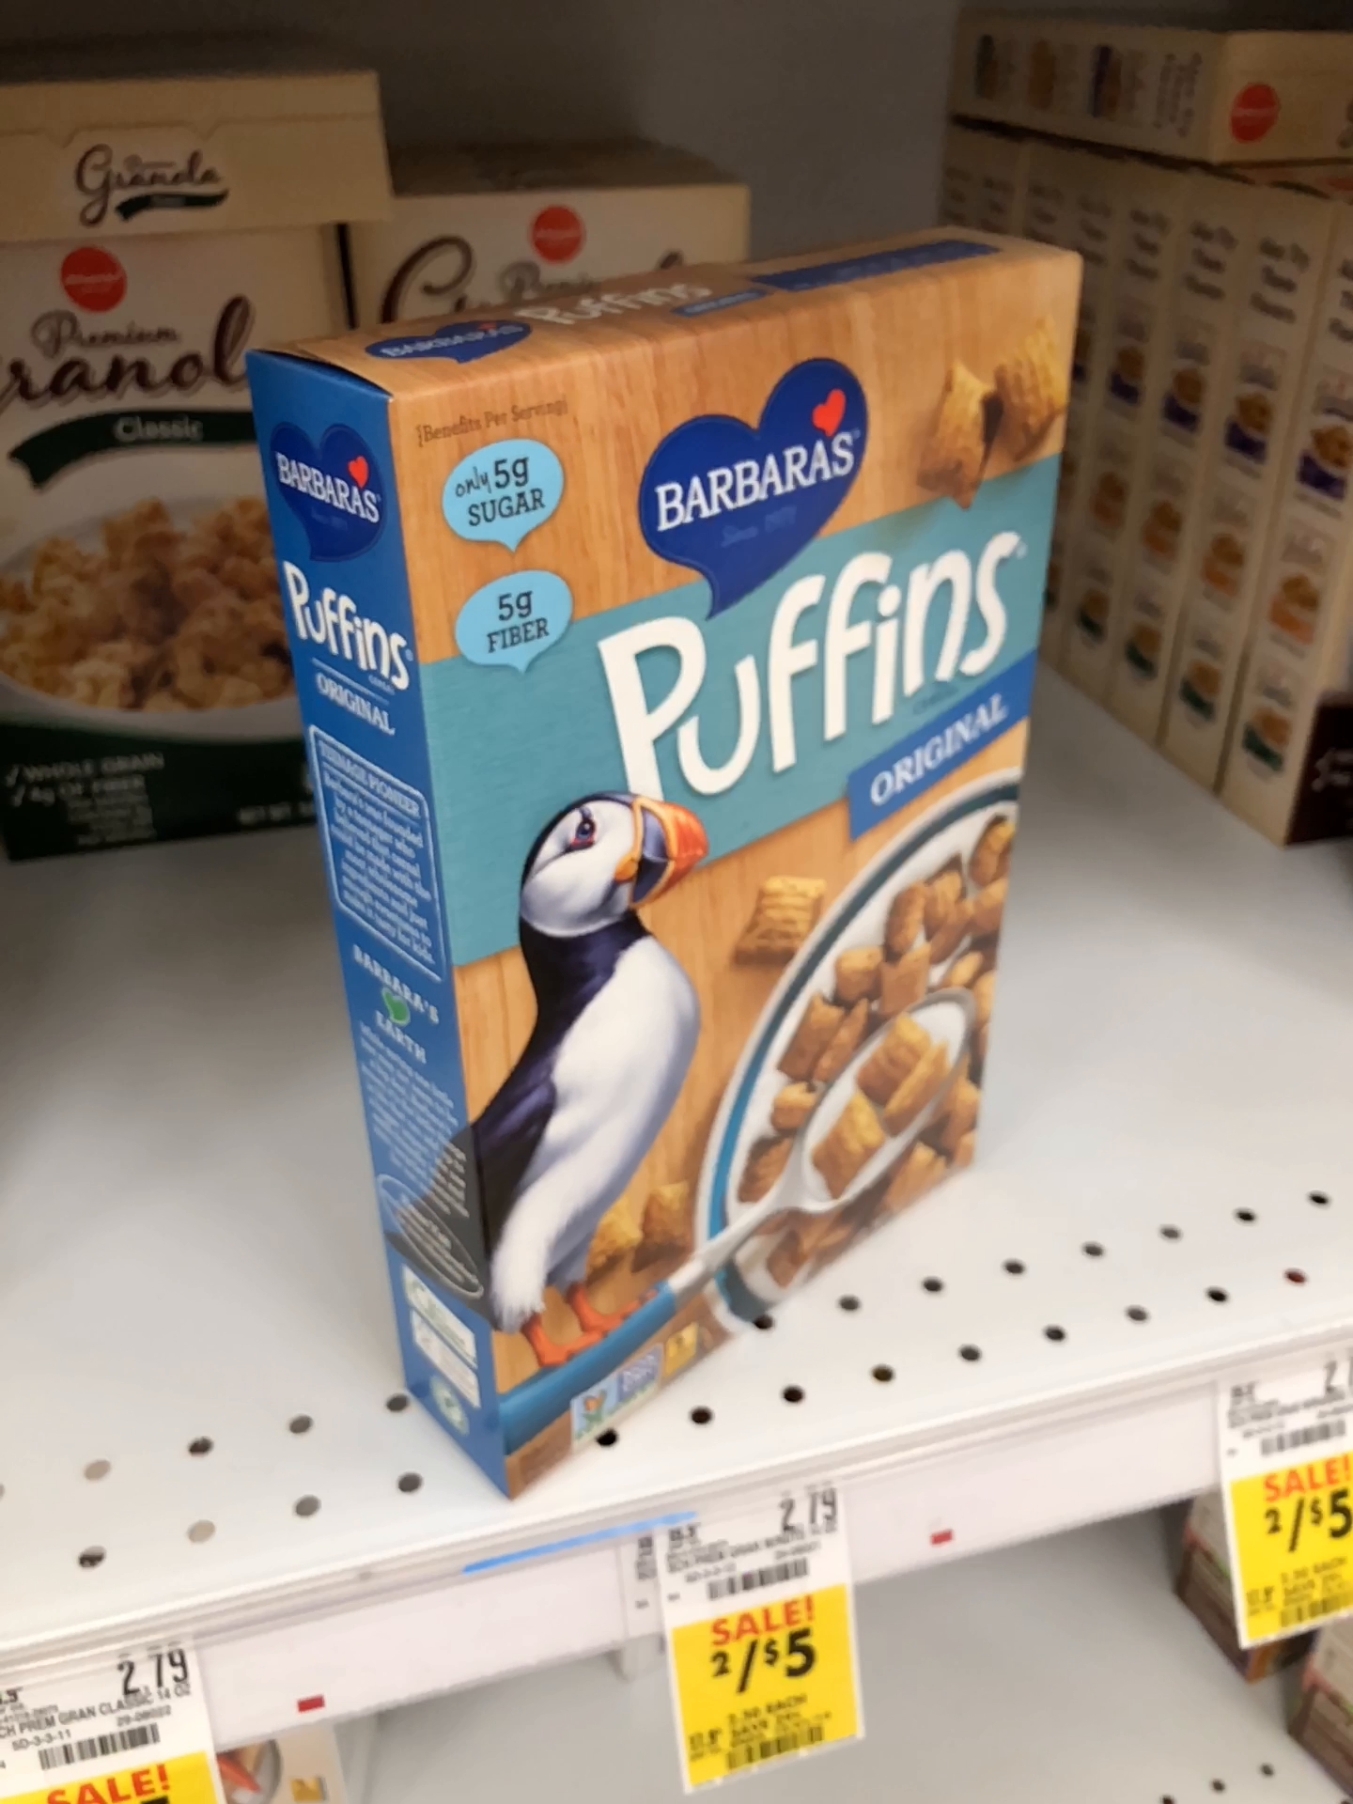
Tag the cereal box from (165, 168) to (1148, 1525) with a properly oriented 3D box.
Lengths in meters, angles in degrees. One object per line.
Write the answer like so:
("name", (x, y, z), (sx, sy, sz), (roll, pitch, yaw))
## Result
("cereal box", (0.011, -0.014, 0.351), (0.190, 0.259, 0.060), (-27, 40, -34))
